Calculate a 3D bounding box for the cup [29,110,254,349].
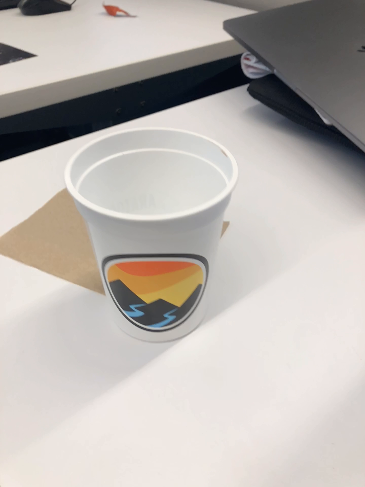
[{"bbox_3d":[-0.016,-0.009,0.230,0.090,0.100,0.090,0,39,0],"label":"cup"}]
